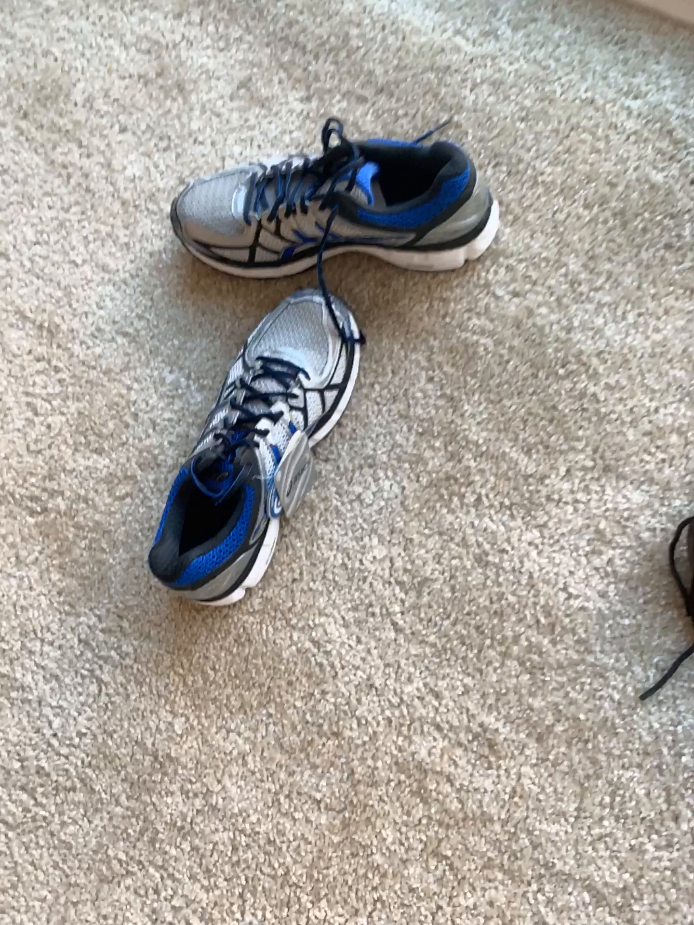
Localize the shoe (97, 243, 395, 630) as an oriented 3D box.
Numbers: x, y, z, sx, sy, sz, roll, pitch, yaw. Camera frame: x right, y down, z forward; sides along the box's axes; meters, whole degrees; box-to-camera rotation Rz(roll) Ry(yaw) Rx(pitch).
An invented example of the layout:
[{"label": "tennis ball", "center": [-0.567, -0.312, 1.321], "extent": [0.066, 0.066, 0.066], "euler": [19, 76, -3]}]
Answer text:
[{"label": "shoe", "center": [-0.073, -0.016, 0.600], "extent": [0.100, 0.110, 0.290], "euler": [24, 84, 15]}]

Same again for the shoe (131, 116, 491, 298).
[{"label": "shoe", "center": [-0.026, -0.228, 0.663], "extent": [0.310, 0.110, 0.100], "euler": [1, 78, 11]}]
